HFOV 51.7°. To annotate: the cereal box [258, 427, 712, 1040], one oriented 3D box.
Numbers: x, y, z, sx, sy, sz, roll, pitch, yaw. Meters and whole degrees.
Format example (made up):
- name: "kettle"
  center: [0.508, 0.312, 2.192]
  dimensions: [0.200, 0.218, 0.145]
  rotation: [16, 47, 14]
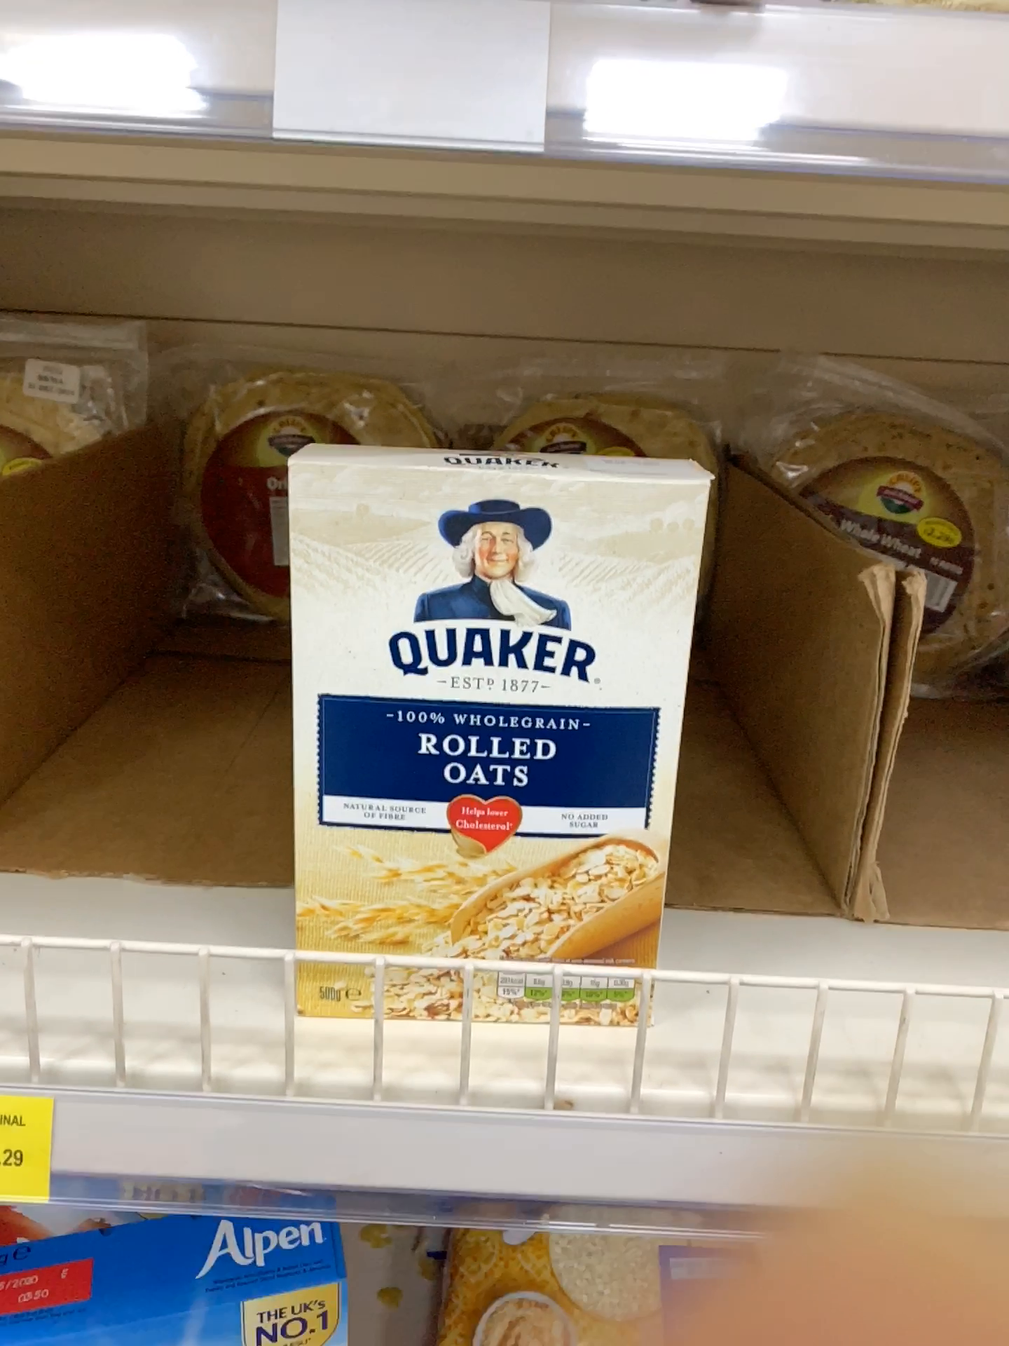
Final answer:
- name: "cereal box"
  center: [-0.012, 0.028, 0.403]
  dimensions: [0.150, 0.228, 0.050]
  rotation: [2, 18, -2]
